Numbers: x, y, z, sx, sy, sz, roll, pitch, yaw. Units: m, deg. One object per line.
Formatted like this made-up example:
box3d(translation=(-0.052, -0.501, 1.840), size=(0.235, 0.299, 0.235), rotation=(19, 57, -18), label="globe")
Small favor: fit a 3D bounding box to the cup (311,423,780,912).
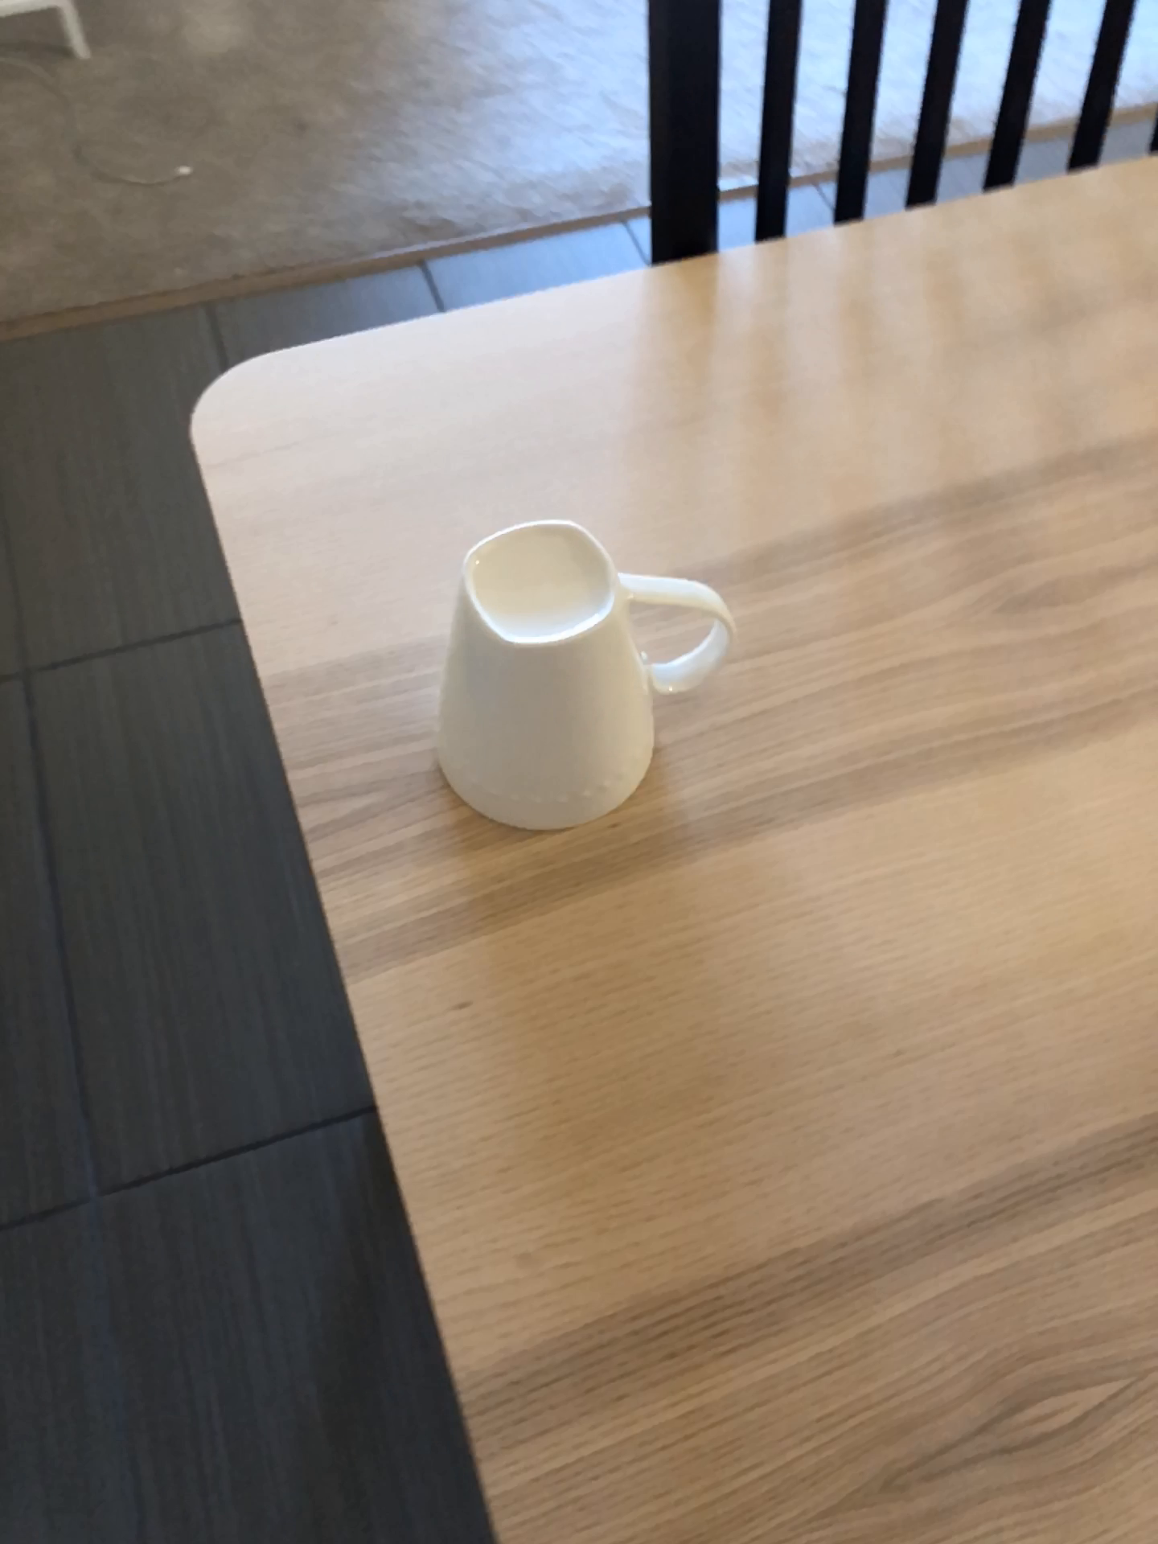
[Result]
box3d(translation=(-0.013, -0.040, 0.521), size=(0.140, 0.120, 0.100), rotation=(-25, 61, -15), label="cup")
